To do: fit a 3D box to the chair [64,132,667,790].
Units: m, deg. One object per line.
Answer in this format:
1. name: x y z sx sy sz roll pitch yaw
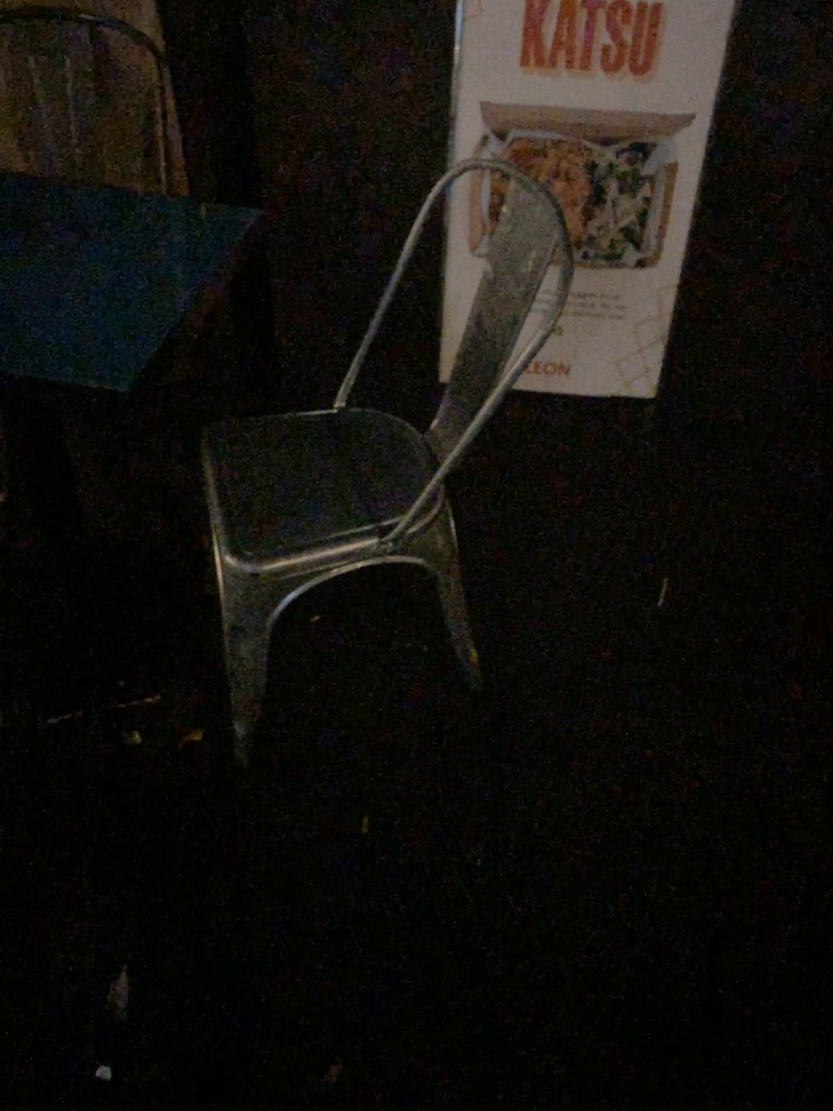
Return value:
1. chair: -0.102 -0.145 1.292 0.601 0.723 0.504 -14 46 -17
